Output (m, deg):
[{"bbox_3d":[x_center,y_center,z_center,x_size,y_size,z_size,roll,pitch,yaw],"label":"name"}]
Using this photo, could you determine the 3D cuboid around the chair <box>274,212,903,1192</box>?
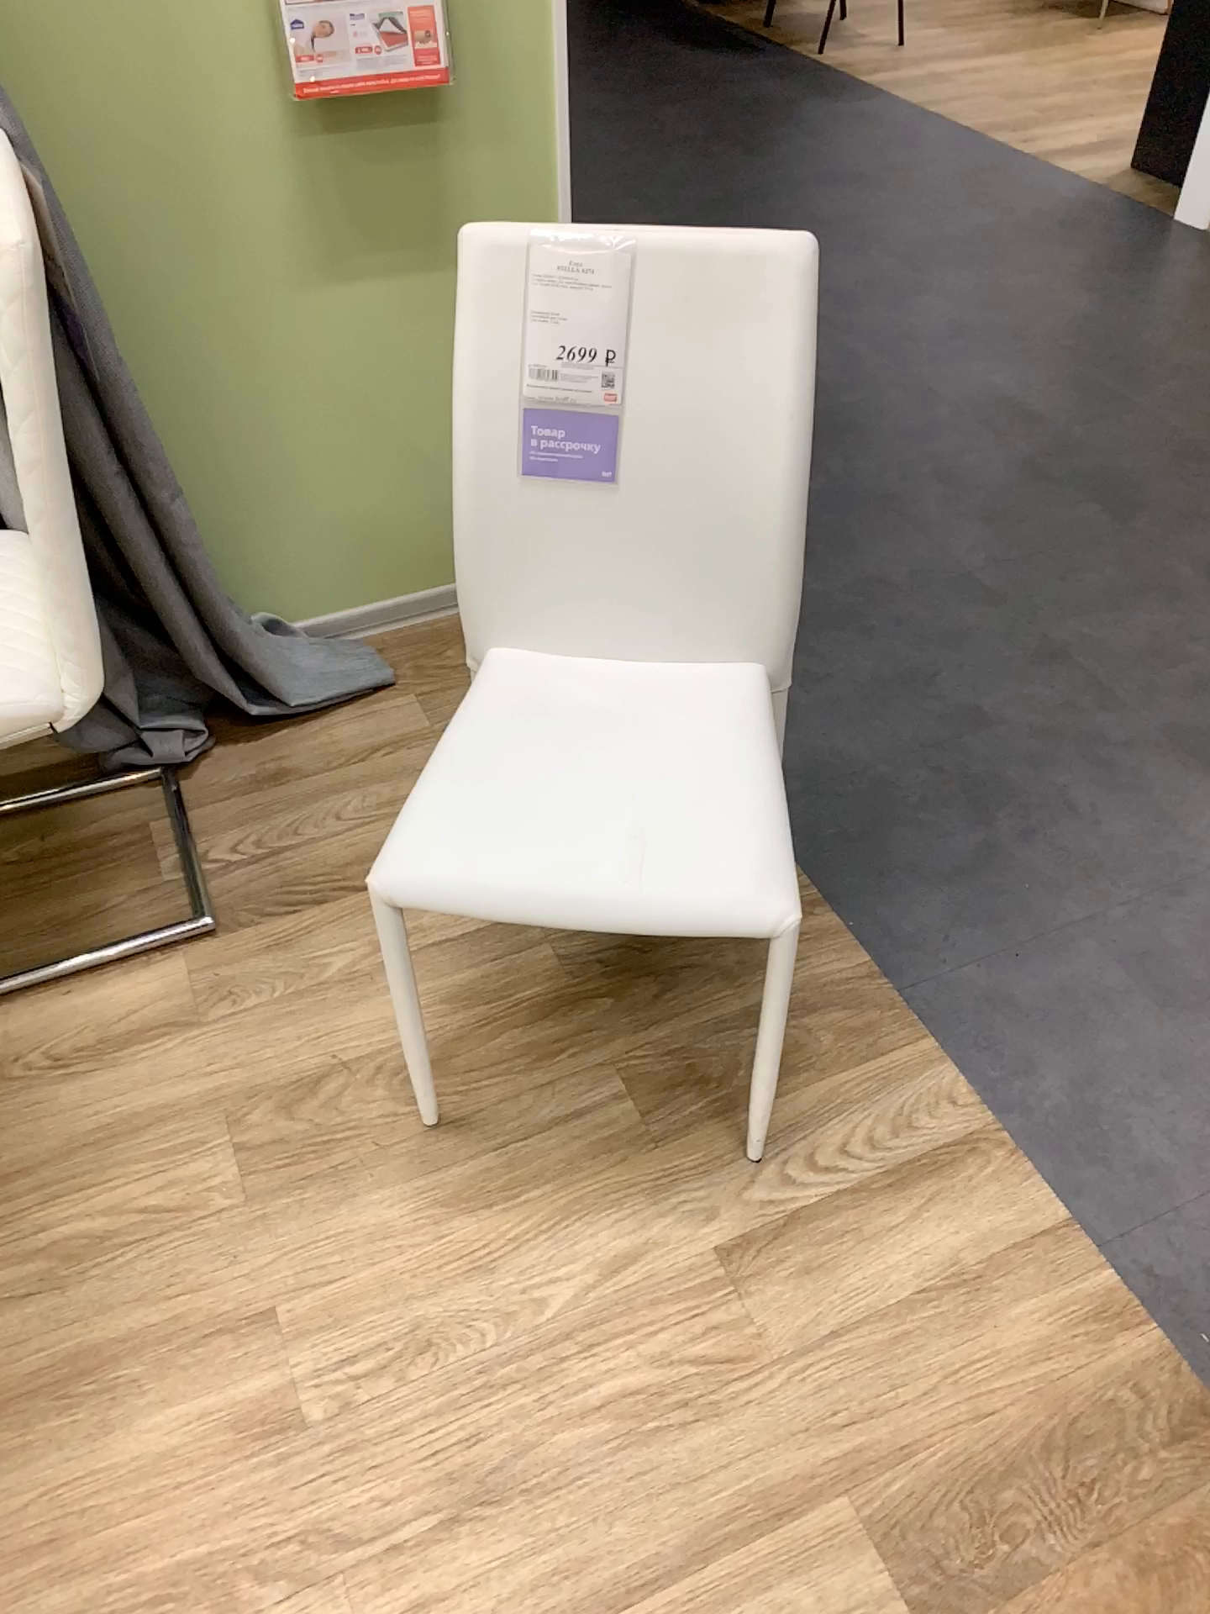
[{"bbox_3d":[0.019,-0.080,1.394,0.450,0.925,0.553,5,44,5],"label":"chair"}]

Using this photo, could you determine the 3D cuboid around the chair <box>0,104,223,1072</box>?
[{"bbox_3d":[-0.884,-0.226,1.481,0.561,0.945,0.452,-17,46,-17],"label":"chair"}]
